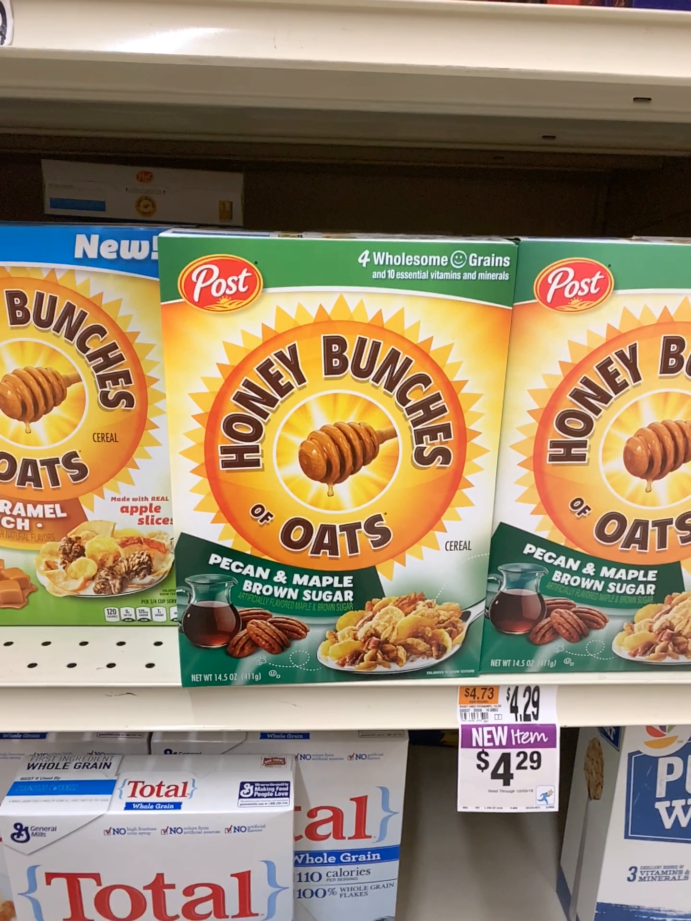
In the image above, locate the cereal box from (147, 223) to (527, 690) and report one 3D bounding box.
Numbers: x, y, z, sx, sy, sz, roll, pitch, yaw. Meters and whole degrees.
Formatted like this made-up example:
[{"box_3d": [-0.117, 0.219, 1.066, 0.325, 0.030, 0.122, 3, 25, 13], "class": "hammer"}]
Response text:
[{"box_3d": [-0.009, 0.002, 0.442, 0.200, 0.279, 0.060, -1, 18, -7], "class": "cereal box"}]
